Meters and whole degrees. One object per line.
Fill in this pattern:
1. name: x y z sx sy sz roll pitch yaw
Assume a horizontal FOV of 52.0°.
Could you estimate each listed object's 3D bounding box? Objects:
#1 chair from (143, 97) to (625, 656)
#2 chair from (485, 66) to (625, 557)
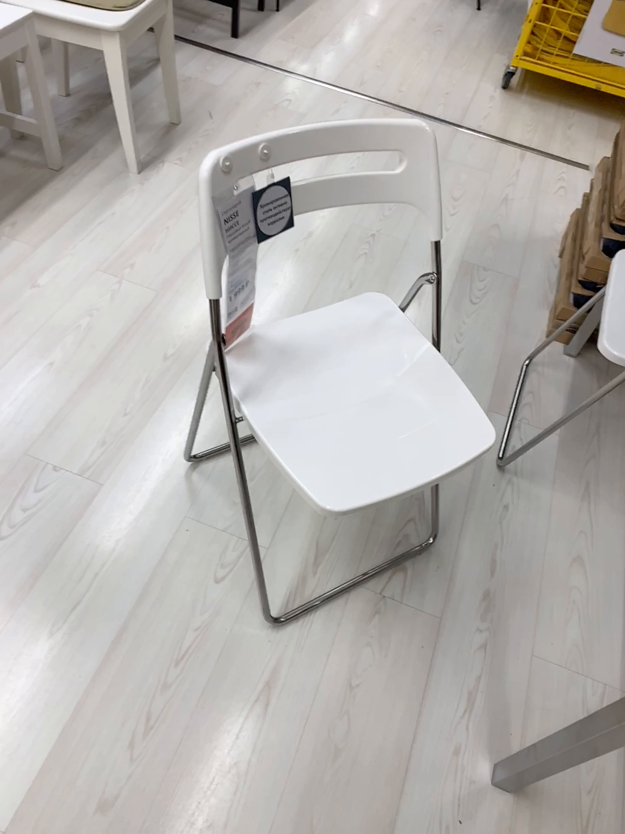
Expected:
1. chair: 0.064 -0.052 1.114 0.511 0.716 0.502 -20 57 -25
2. chair: 0.782 -0.191 1.349 0.510 0.726 0.533 21 50 6
